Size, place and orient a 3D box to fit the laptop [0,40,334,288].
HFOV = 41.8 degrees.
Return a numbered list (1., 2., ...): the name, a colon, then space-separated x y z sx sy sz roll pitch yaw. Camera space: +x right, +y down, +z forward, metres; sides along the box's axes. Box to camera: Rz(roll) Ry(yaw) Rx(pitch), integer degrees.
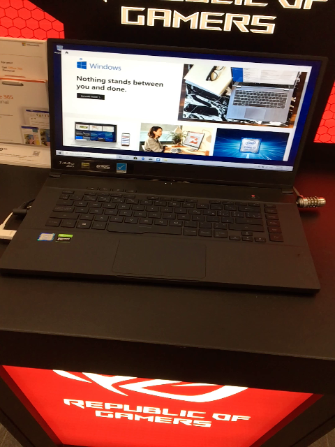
1. laptop: 0.006 -0.096 0.596 0.402 0.211 0.294 5 38 2
